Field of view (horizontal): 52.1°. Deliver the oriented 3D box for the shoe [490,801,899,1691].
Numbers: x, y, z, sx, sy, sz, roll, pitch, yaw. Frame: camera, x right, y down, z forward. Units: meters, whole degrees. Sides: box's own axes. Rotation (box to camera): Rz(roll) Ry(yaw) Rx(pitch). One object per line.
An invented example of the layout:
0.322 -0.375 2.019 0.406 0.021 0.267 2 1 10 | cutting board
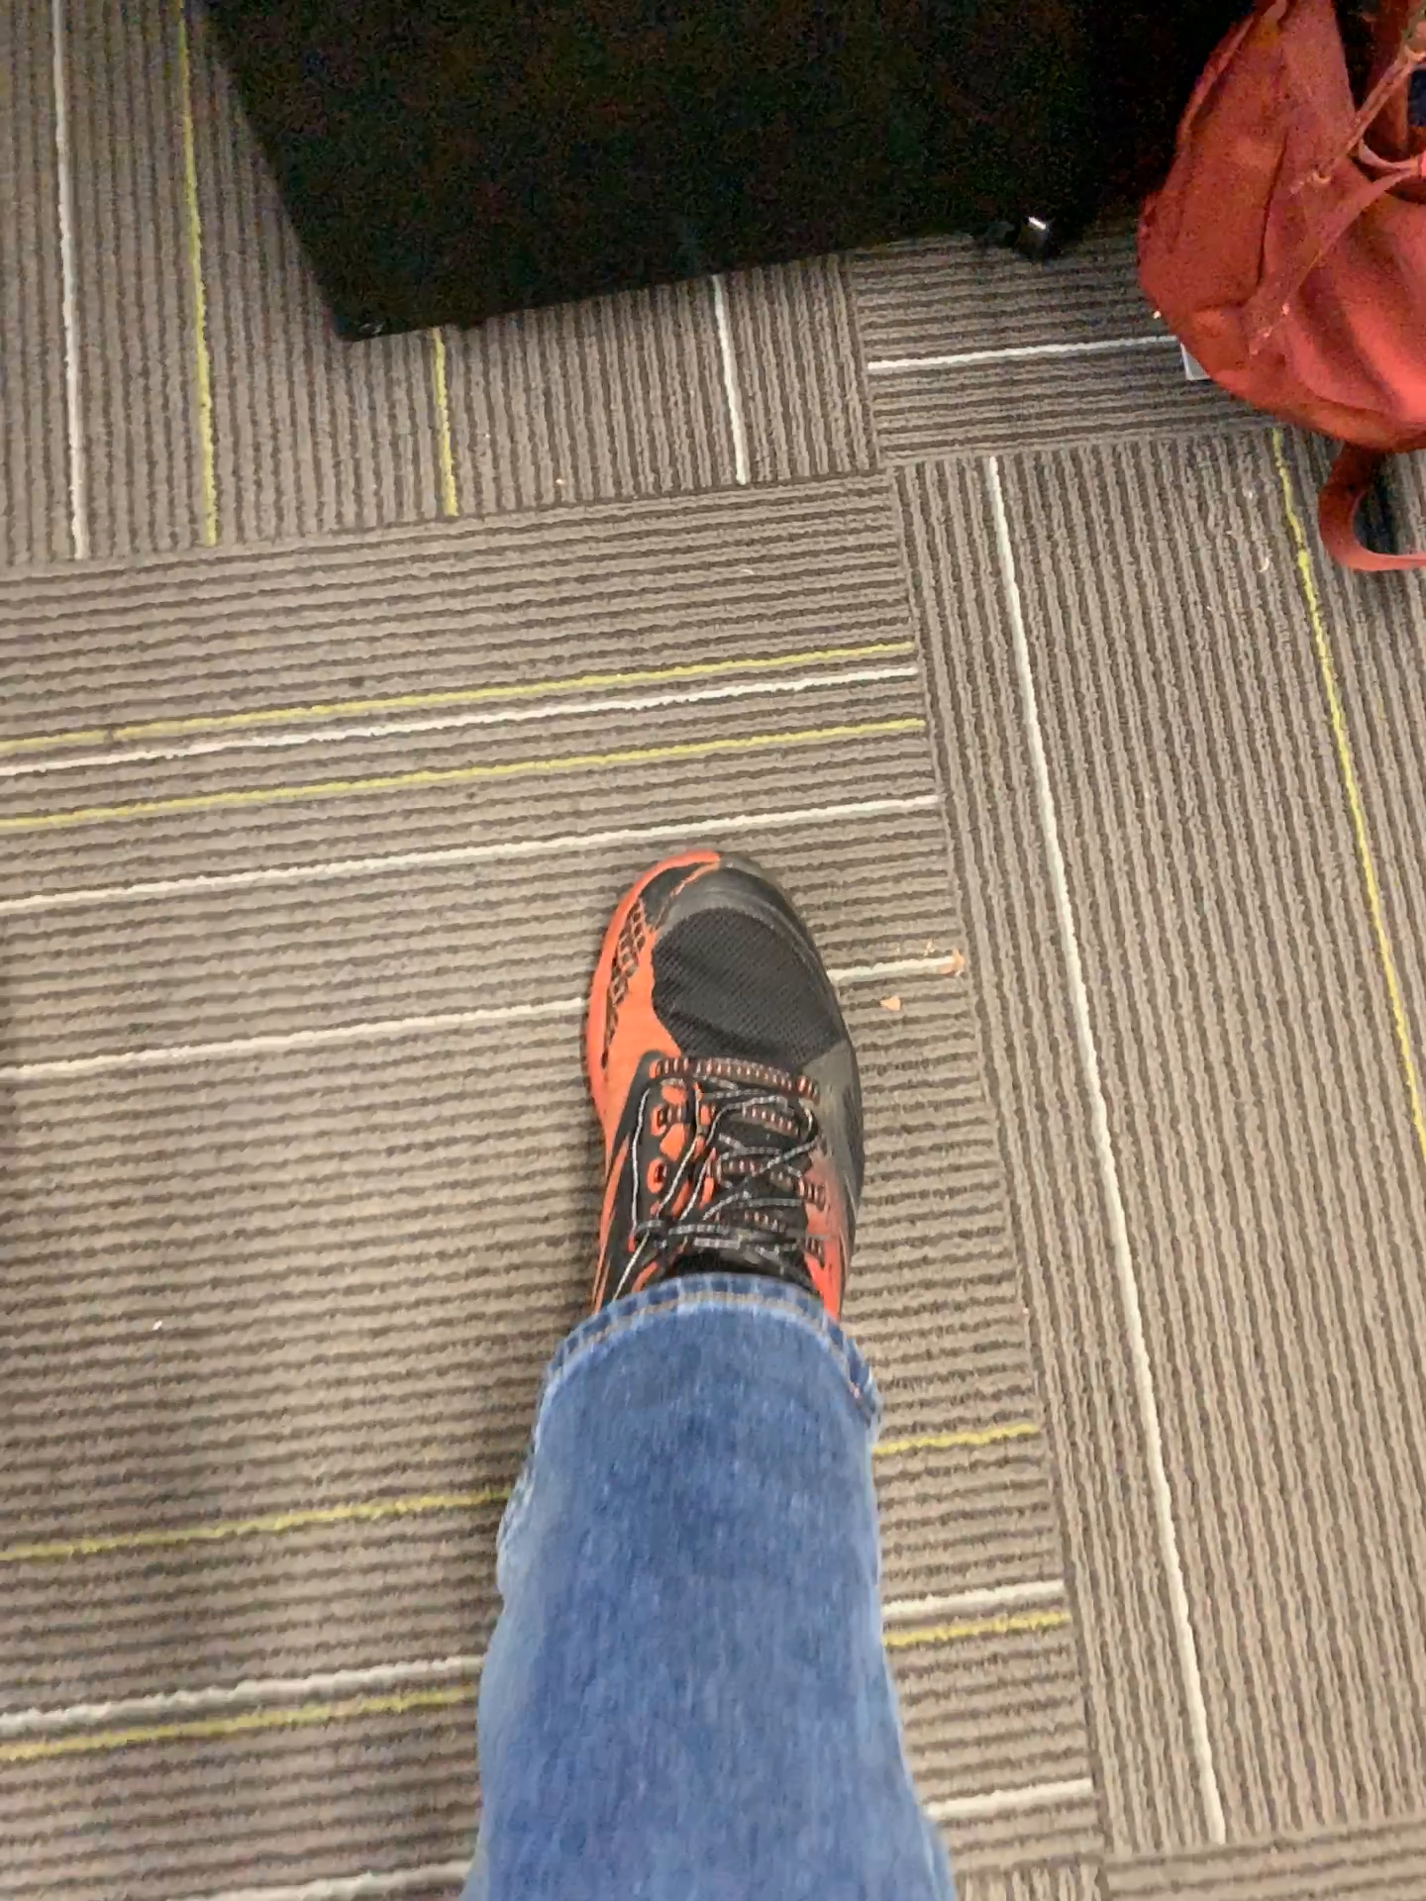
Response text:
-0.003 0.109 0.583 0.130 0.077 0.317 4 79 0 | shoe
